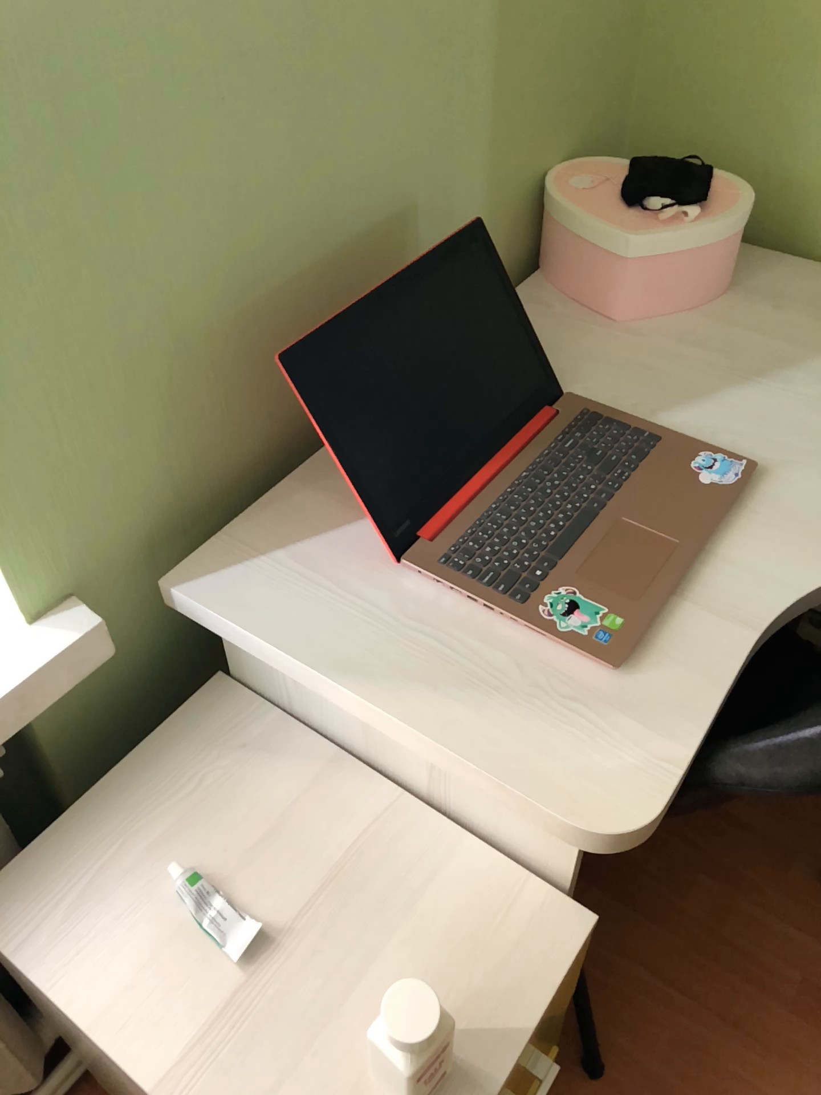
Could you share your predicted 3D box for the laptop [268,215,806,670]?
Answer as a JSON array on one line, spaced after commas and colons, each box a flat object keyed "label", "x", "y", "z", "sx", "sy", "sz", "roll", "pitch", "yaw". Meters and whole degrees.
[{"label": "laptop", "x": 0.136, "y": -0.144, "z": 0.973, "sx": 0.402, "sy": 0.198, "sz": 0.376, "roll": 26, "pitch": 50, "yaw": 24}]
